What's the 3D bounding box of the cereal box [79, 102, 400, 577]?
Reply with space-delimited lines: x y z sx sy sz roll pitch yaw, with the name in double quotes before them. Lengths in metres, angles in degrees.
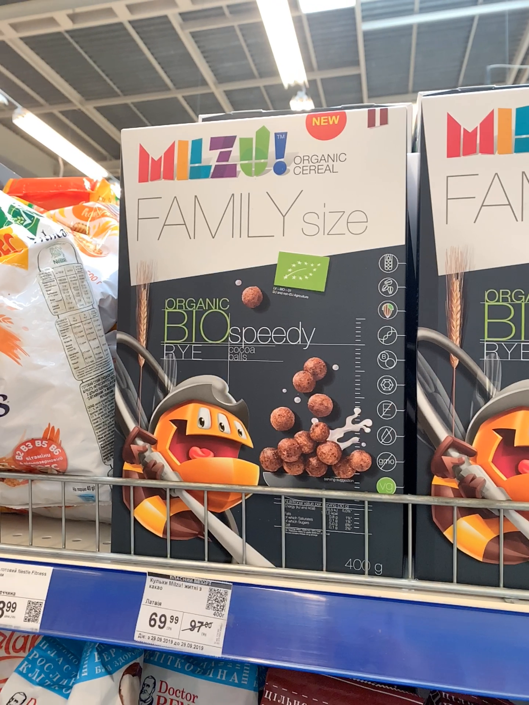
"cereal box" -0.013 -0.009 0.372 0.200 0.270 0.080 1 0 12
